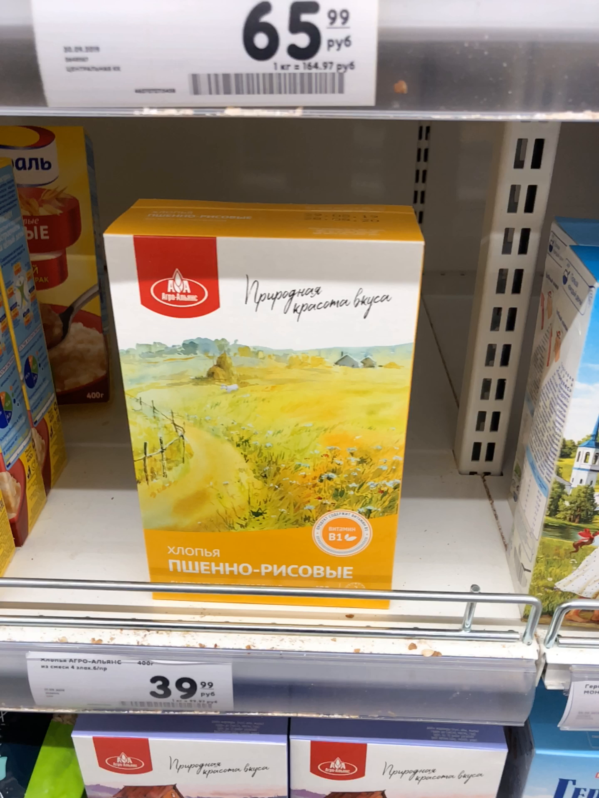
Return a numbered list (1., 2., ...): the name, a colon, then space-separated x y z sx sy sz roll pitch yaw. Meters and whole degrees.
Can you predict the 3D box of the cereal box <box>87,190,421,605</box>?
1. cereal box: -0.016 0.005 0.331 0.130 0.199 0.060 1 28 3
